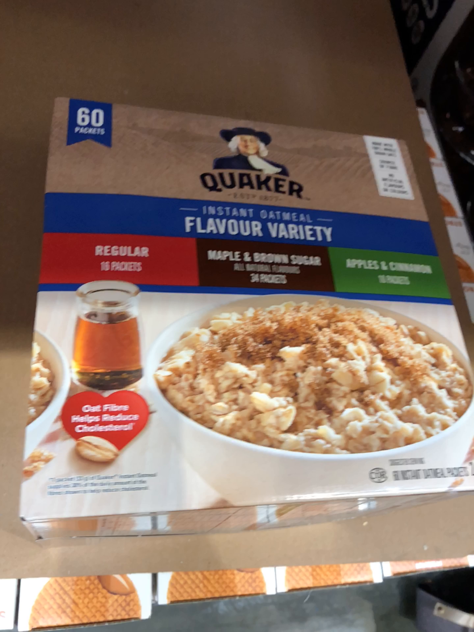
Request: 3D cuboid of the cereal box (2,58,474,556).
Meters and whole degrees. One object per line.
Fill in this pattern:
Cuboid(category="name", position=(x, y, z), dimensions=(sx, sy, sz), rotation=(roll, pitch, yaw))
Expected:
Cuboid(category="cereal box", position=(-0.009, 0.011, 0.376), dimensions=(0.240, 0.200, 0.260), rotation=(2, 63, -15))
